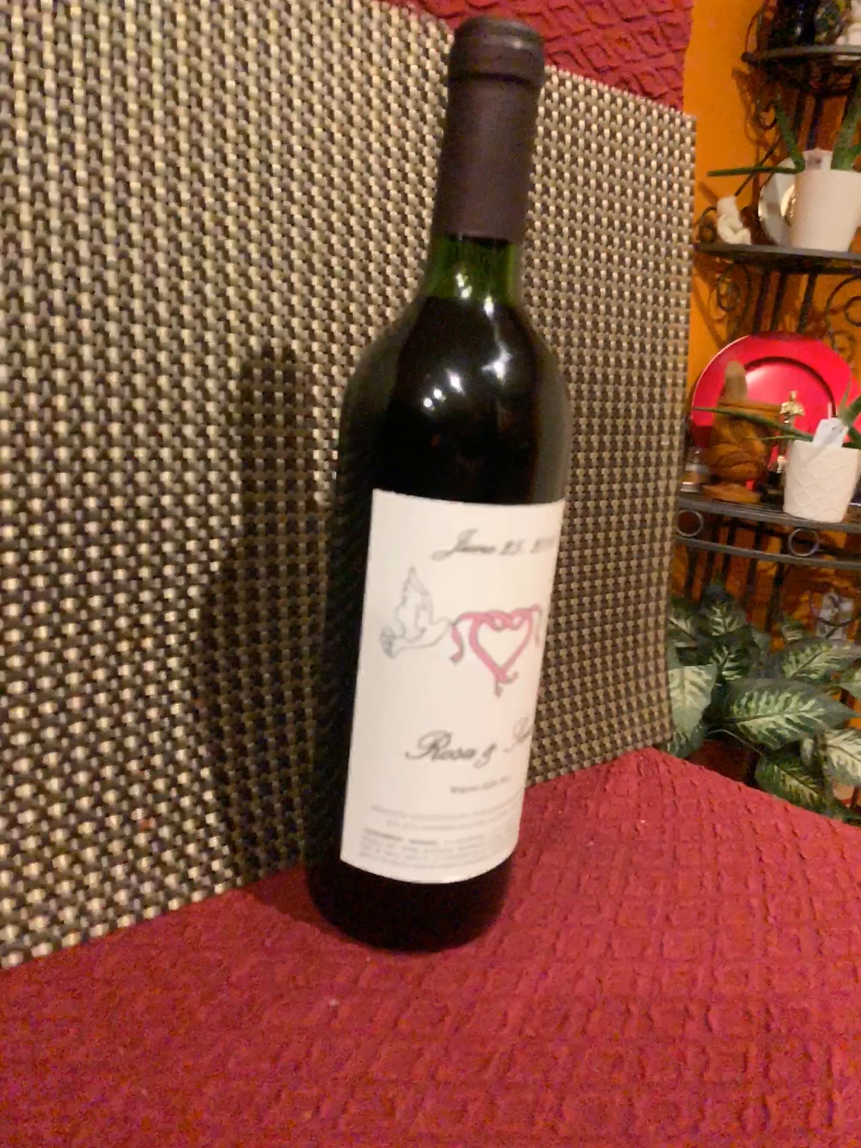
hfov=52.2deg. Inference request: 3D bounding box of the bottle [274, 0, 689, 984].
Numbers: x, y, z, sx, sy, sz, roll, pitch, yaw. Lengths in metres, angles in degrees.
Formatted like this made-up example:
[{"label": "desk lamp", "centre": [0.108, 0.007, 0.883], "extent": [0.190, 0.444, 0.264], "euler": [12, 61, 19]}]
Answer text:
[{"label": "bottle", "centre": [0.008, -0.021, 0.287], "extent": [0.080, 0.289, 0.060], "euler": [-4, 18, -35]}]
